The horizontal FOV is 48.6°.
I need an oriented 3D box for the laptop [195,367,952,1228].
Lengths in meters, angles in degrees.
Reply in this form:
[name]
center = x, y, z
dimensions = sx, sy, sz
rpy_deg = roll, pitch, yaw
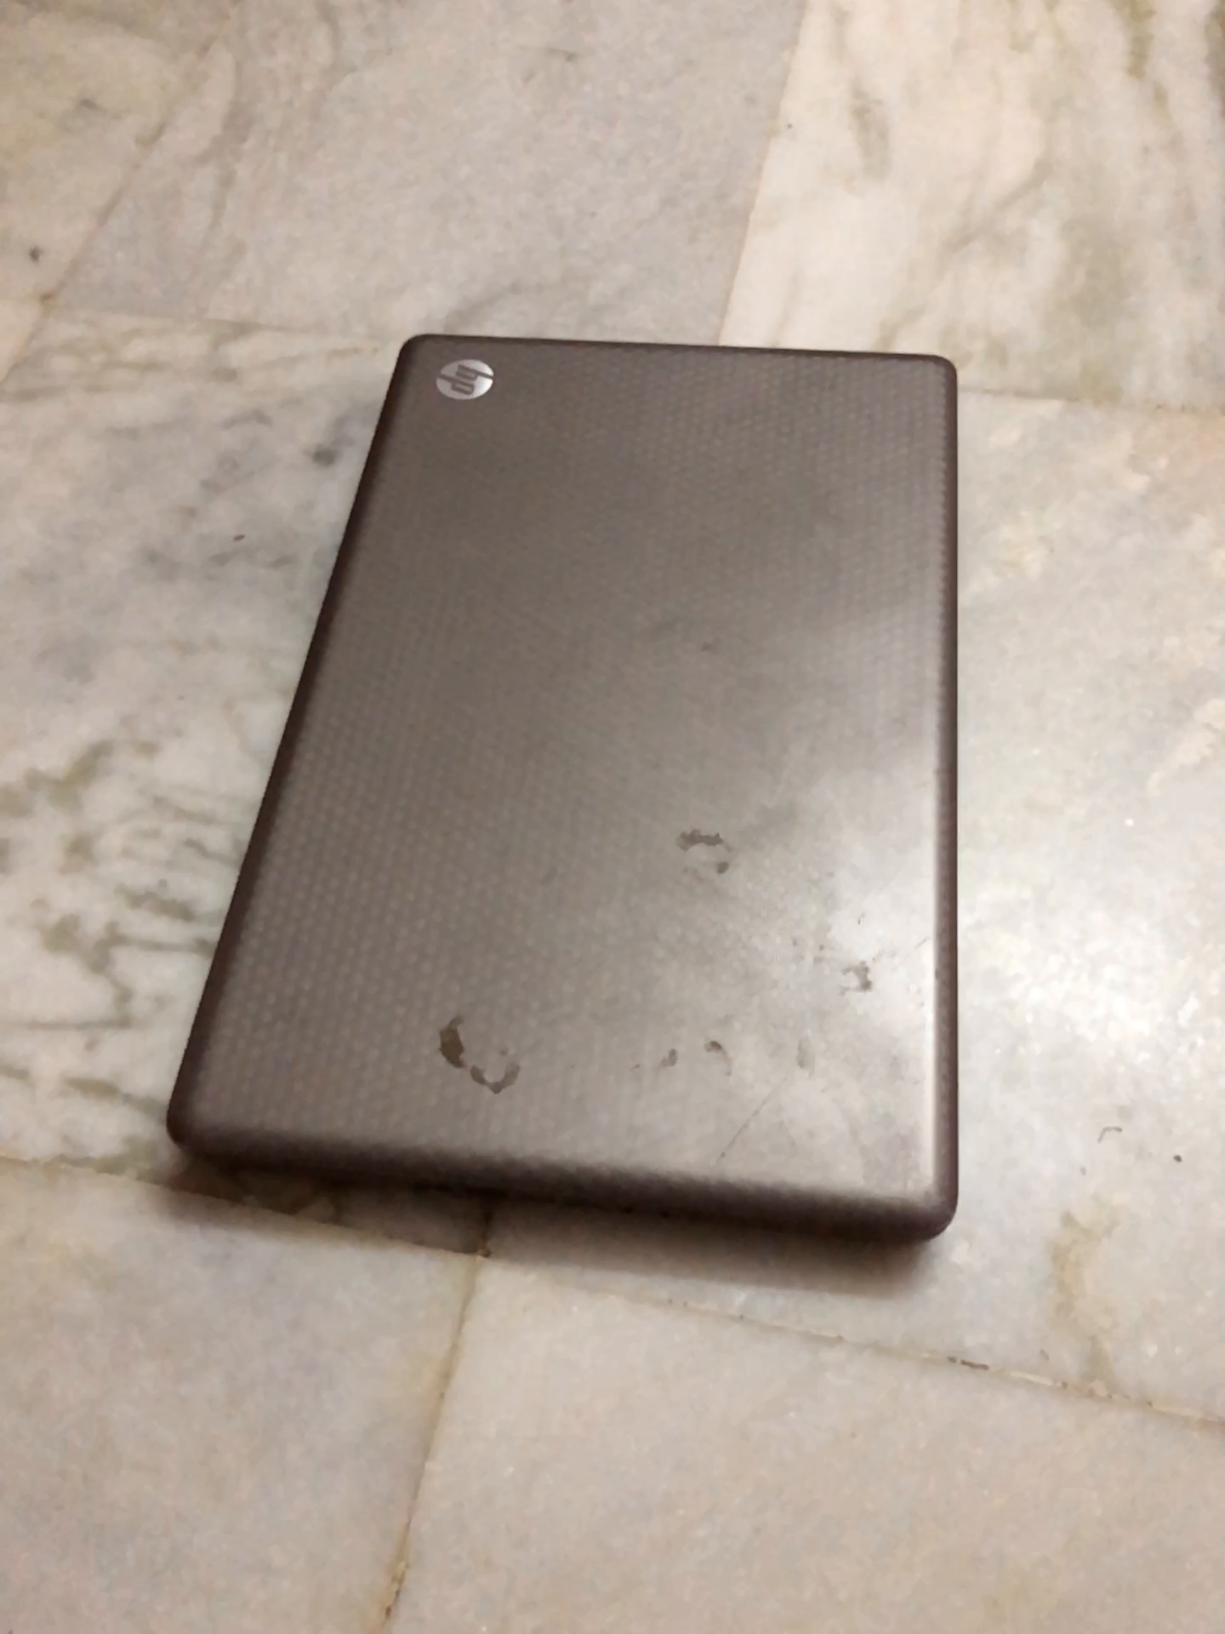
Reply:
[laptop]
center = 0.006, -0.042, 0.541
dimensions = 0.248, 0.002, 0.379
rpy_deg = 5, 60, 7
